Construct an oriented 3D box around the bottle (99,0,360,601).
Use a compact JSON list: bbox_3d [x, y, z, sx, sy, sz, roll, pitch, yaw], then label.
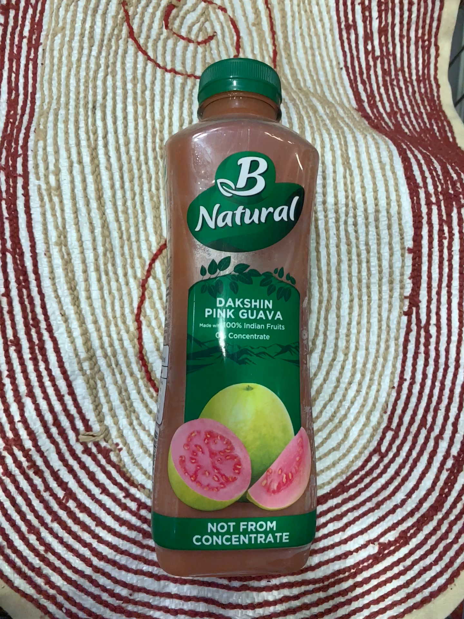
[{"bbox_3d":[-0.001,-0.011,0.190,0.080,0.060,0.210,3,85,-6],"label":"bottle"}]
